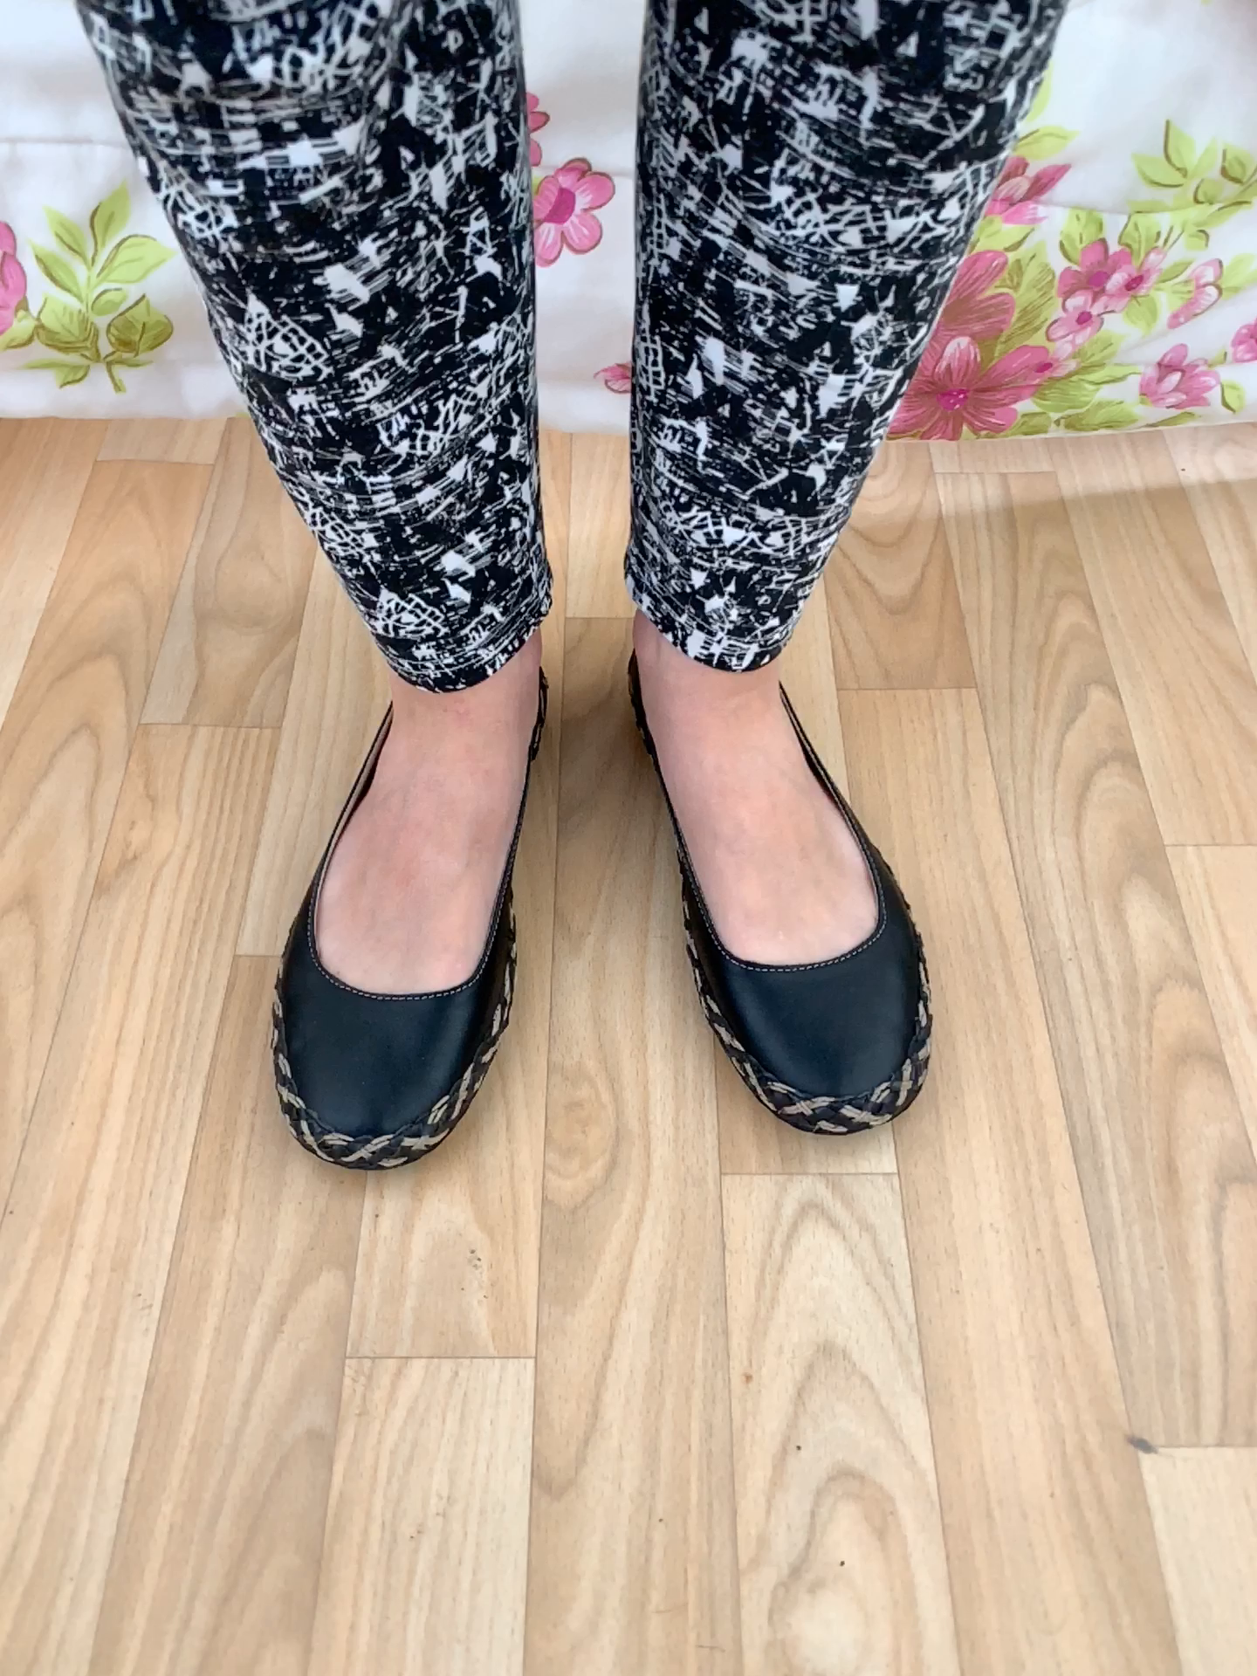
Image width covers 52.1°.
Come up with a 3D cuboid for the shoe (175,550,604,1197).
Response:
[{"bbox_3d":[-0.084,0.002,0.539,0.100,0.070,0.266,7,56,6],"label":"shoe"}]

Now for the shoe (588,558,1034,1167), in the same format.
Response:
[{"bbox_3d":[0.063,-0.002,0.541,0.100,0.060,0.251,-13,56,-8],"label":"shoe"}]
